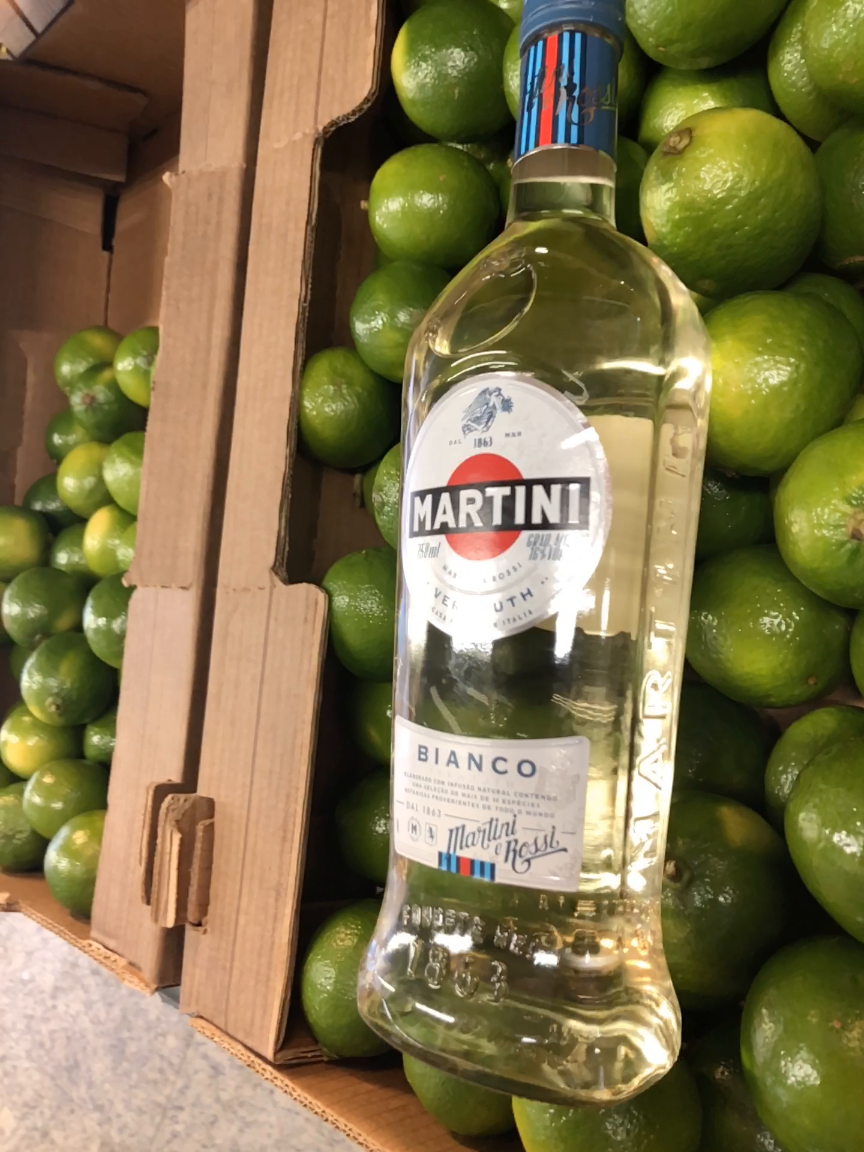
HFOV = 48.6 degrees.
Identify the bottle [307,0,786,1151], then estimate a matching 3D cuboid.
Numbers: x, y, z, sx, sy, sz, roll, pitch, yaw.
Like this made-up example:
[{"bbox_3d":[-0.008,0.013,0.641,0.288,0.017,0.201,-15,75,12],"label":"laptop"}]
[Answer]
[{"bbox_3d":[0.033,-0.025,0.270,0.100,0.050,0.320,-1,81,42],"label":"bottle"}]
